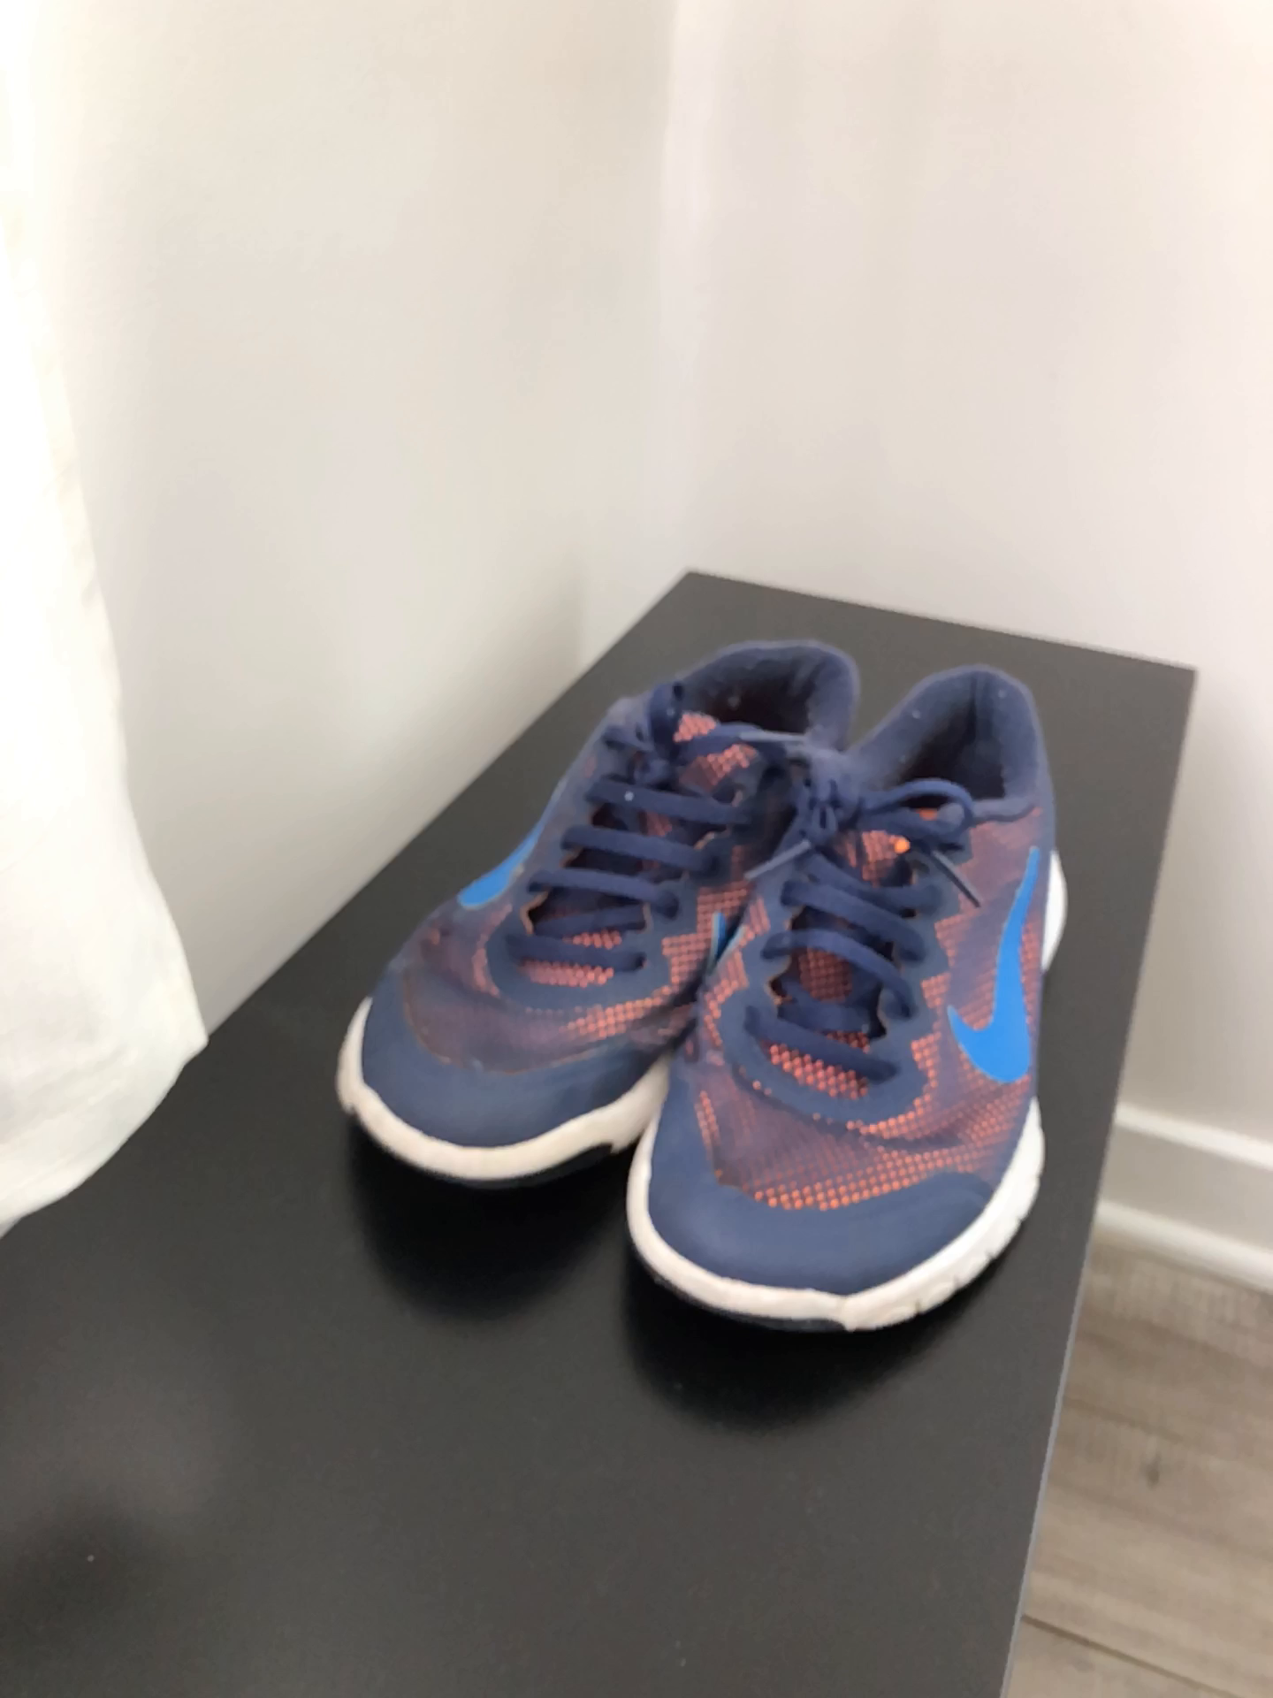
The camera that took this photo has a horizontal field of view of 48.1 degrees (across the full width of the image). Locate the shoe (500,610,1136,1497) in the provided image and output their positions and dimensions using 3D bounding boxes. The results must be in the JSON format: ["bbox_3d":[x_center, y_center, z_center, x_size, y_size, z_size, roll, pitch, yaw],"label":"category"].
[{"bbox_3d":[0.068,0.030,0.416,0.120,0.089,0.261,13,34,14],"label":"shoe"}]

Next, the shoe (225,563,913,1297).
[{"bbox_3d":[-0.003,0.002,0.457,0.100,0.089,0.261,16,35,20],"label":"shoe"}]
